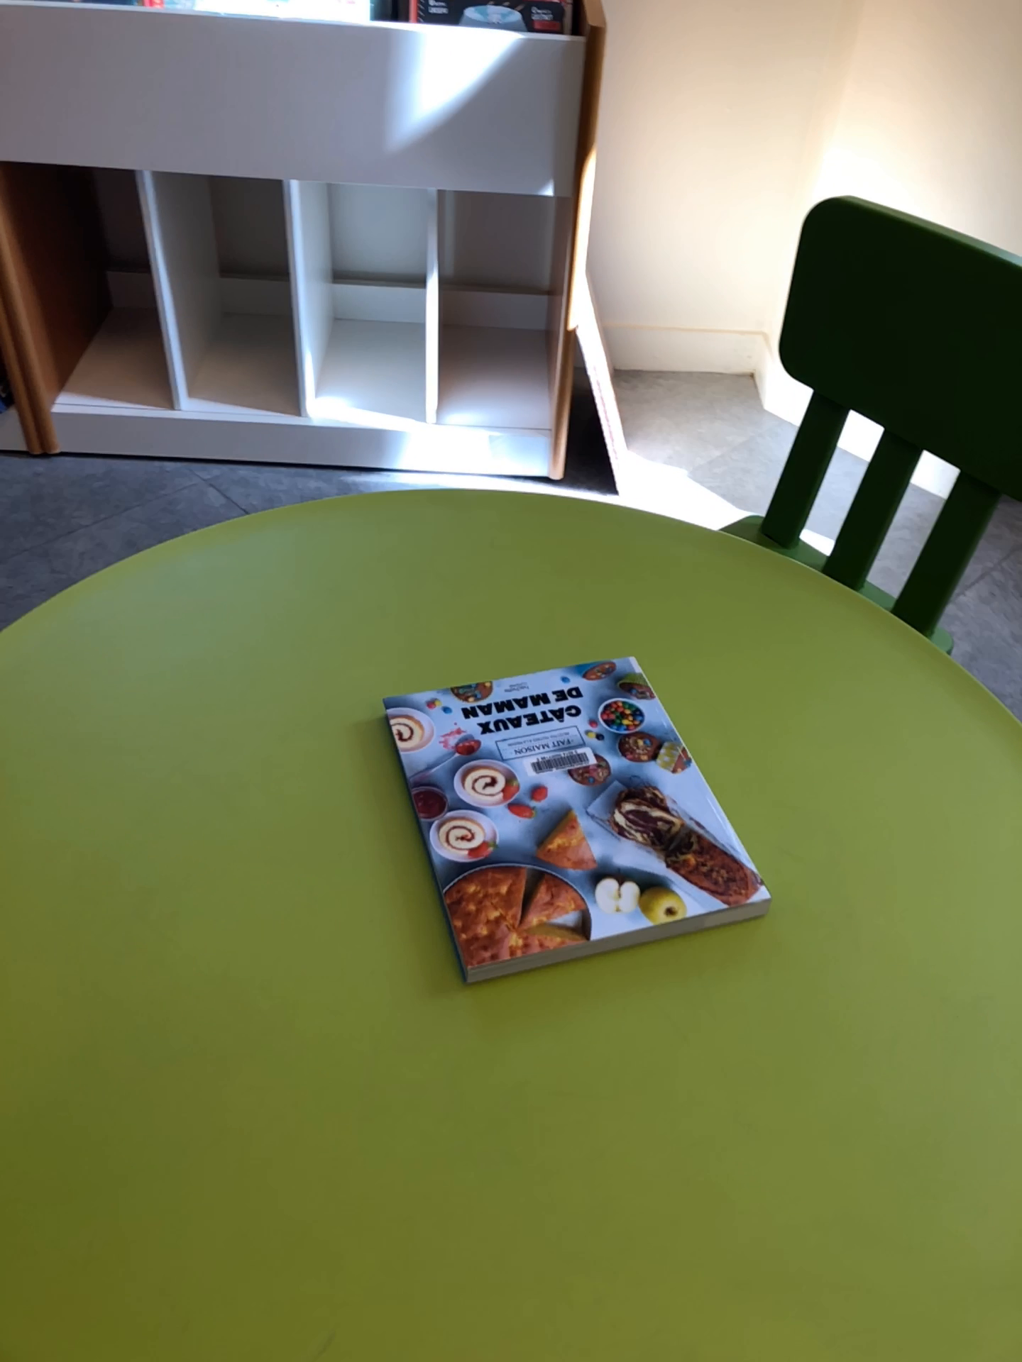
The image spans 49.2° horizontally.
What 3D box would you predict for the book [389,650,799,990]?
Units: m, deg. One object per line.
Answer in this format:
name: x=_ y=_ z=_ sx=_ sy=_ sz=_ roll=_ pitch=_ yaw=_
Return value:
book: x=0.043 y=0.076 z=0.728 sx=0.200 sy=0.021 sz=0.229 roll=-9 pitch=44 yaw=-15
